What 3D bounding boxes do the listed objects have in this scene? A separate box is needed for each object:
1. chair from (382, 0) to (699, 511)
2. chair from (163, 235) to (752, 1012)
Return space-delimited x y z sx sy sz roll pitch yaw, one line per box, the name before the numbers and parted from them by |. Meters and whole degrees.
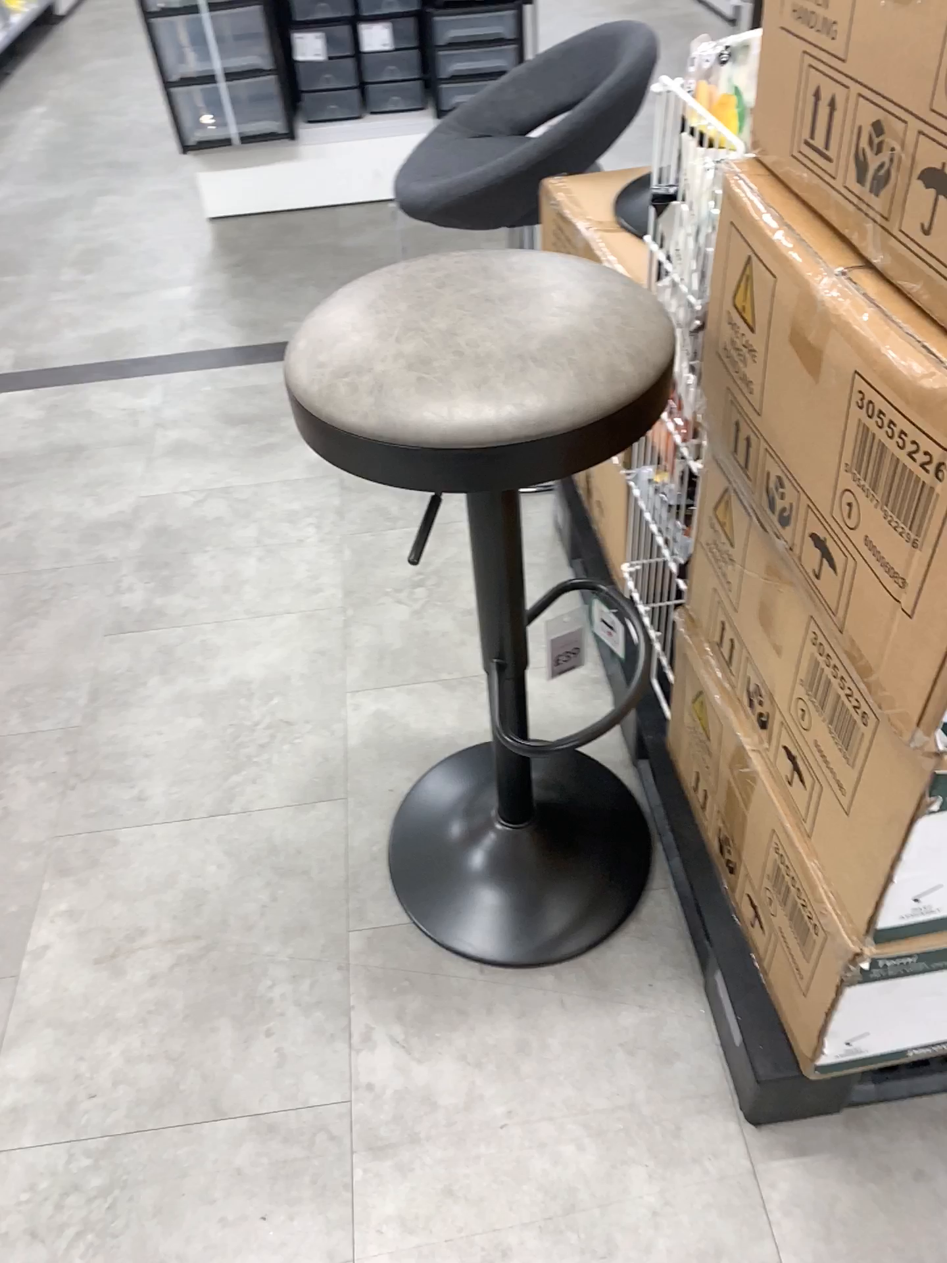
chair | 0.103 -0.688 1.802 0.452 0.720 0.513 -5 43 0
chair | 0.042 0.010 1.108 0.433 0.740 0.462 5 44 10
